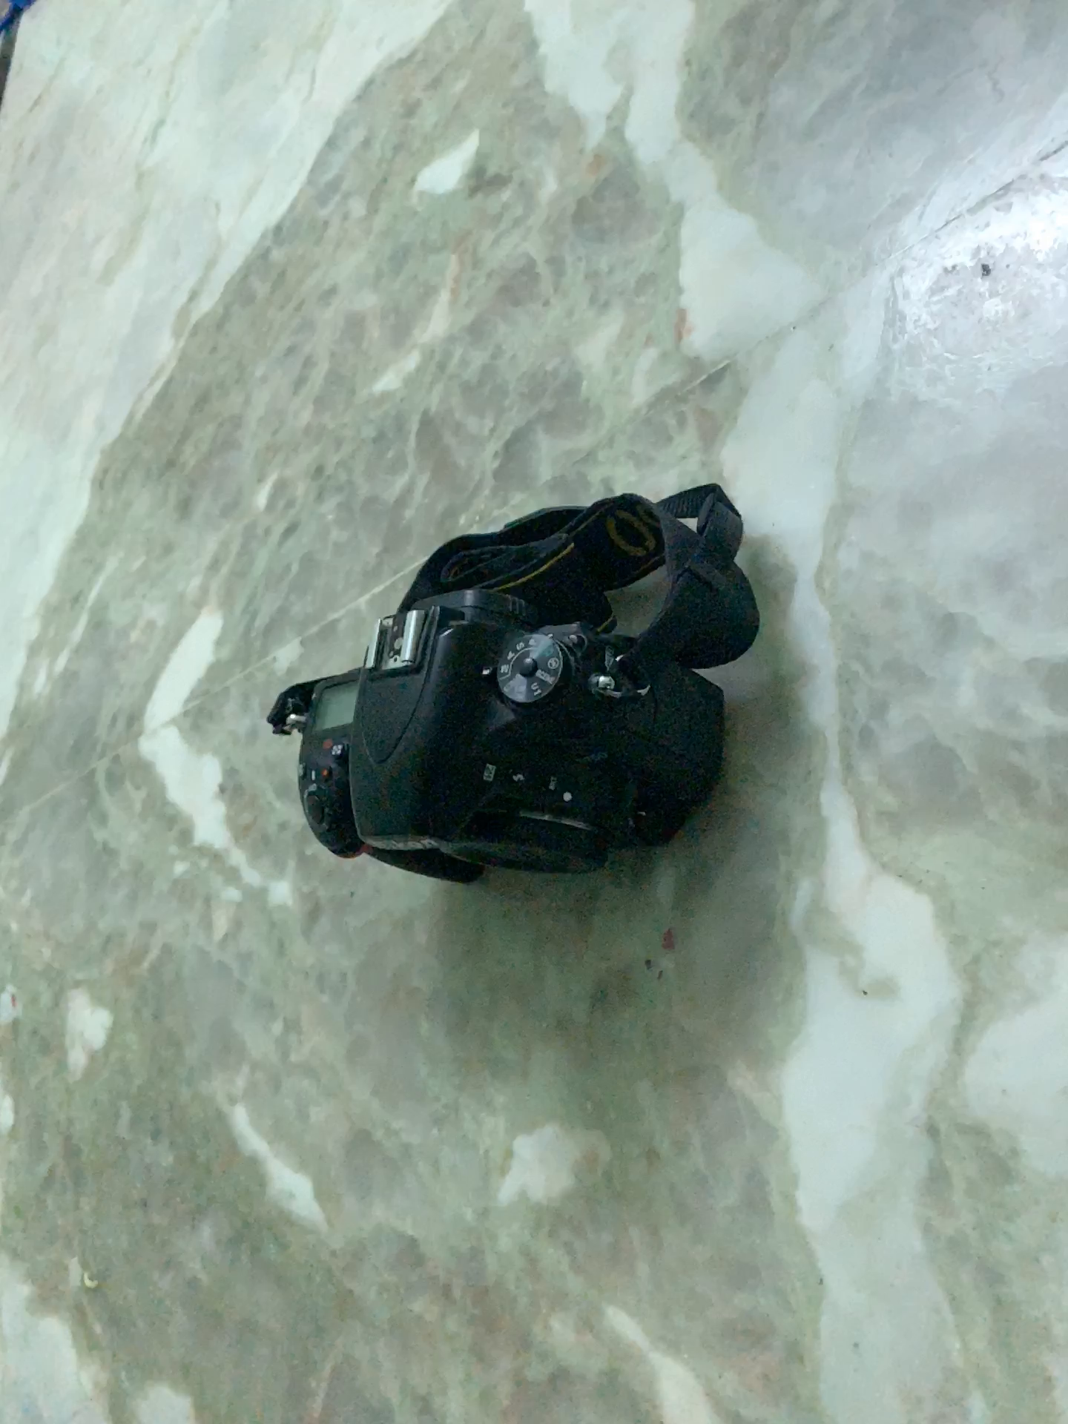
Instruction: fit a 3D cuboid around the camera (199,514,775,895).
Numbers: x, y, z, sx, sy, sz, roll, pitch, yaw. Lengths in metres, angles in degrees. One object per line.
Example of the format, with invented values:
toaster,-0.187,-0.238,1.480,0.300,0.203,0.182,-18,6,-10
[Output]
camera,-0.016,0.009,0.358,0.151,0.099,0.080,-7,67,41
